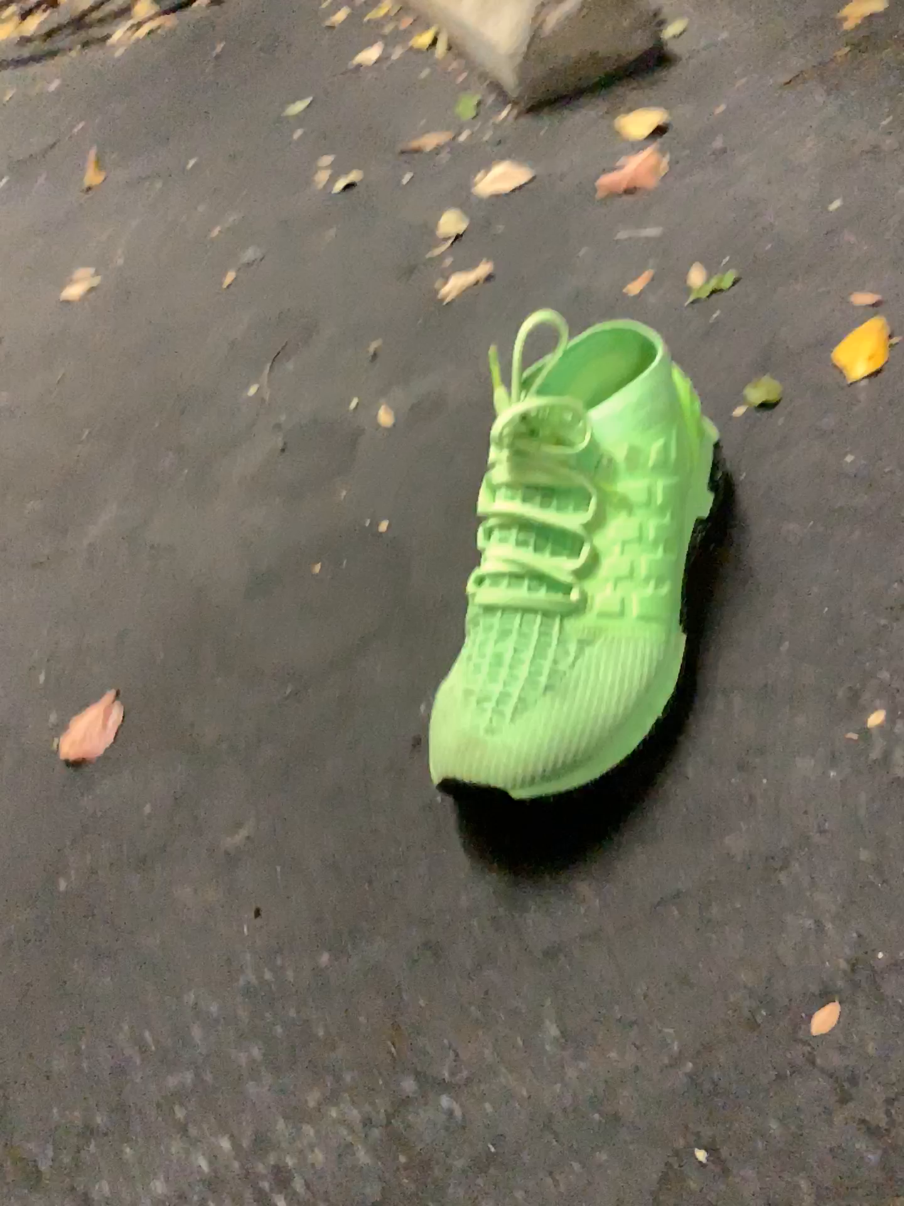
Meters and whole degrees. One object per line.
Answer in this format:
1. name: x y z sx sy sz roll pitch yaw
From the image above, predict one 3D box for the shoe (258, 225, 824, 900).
1. shoe: 0.070 -0.042 0.523 0.130 0.150 0.320 18 54 28
